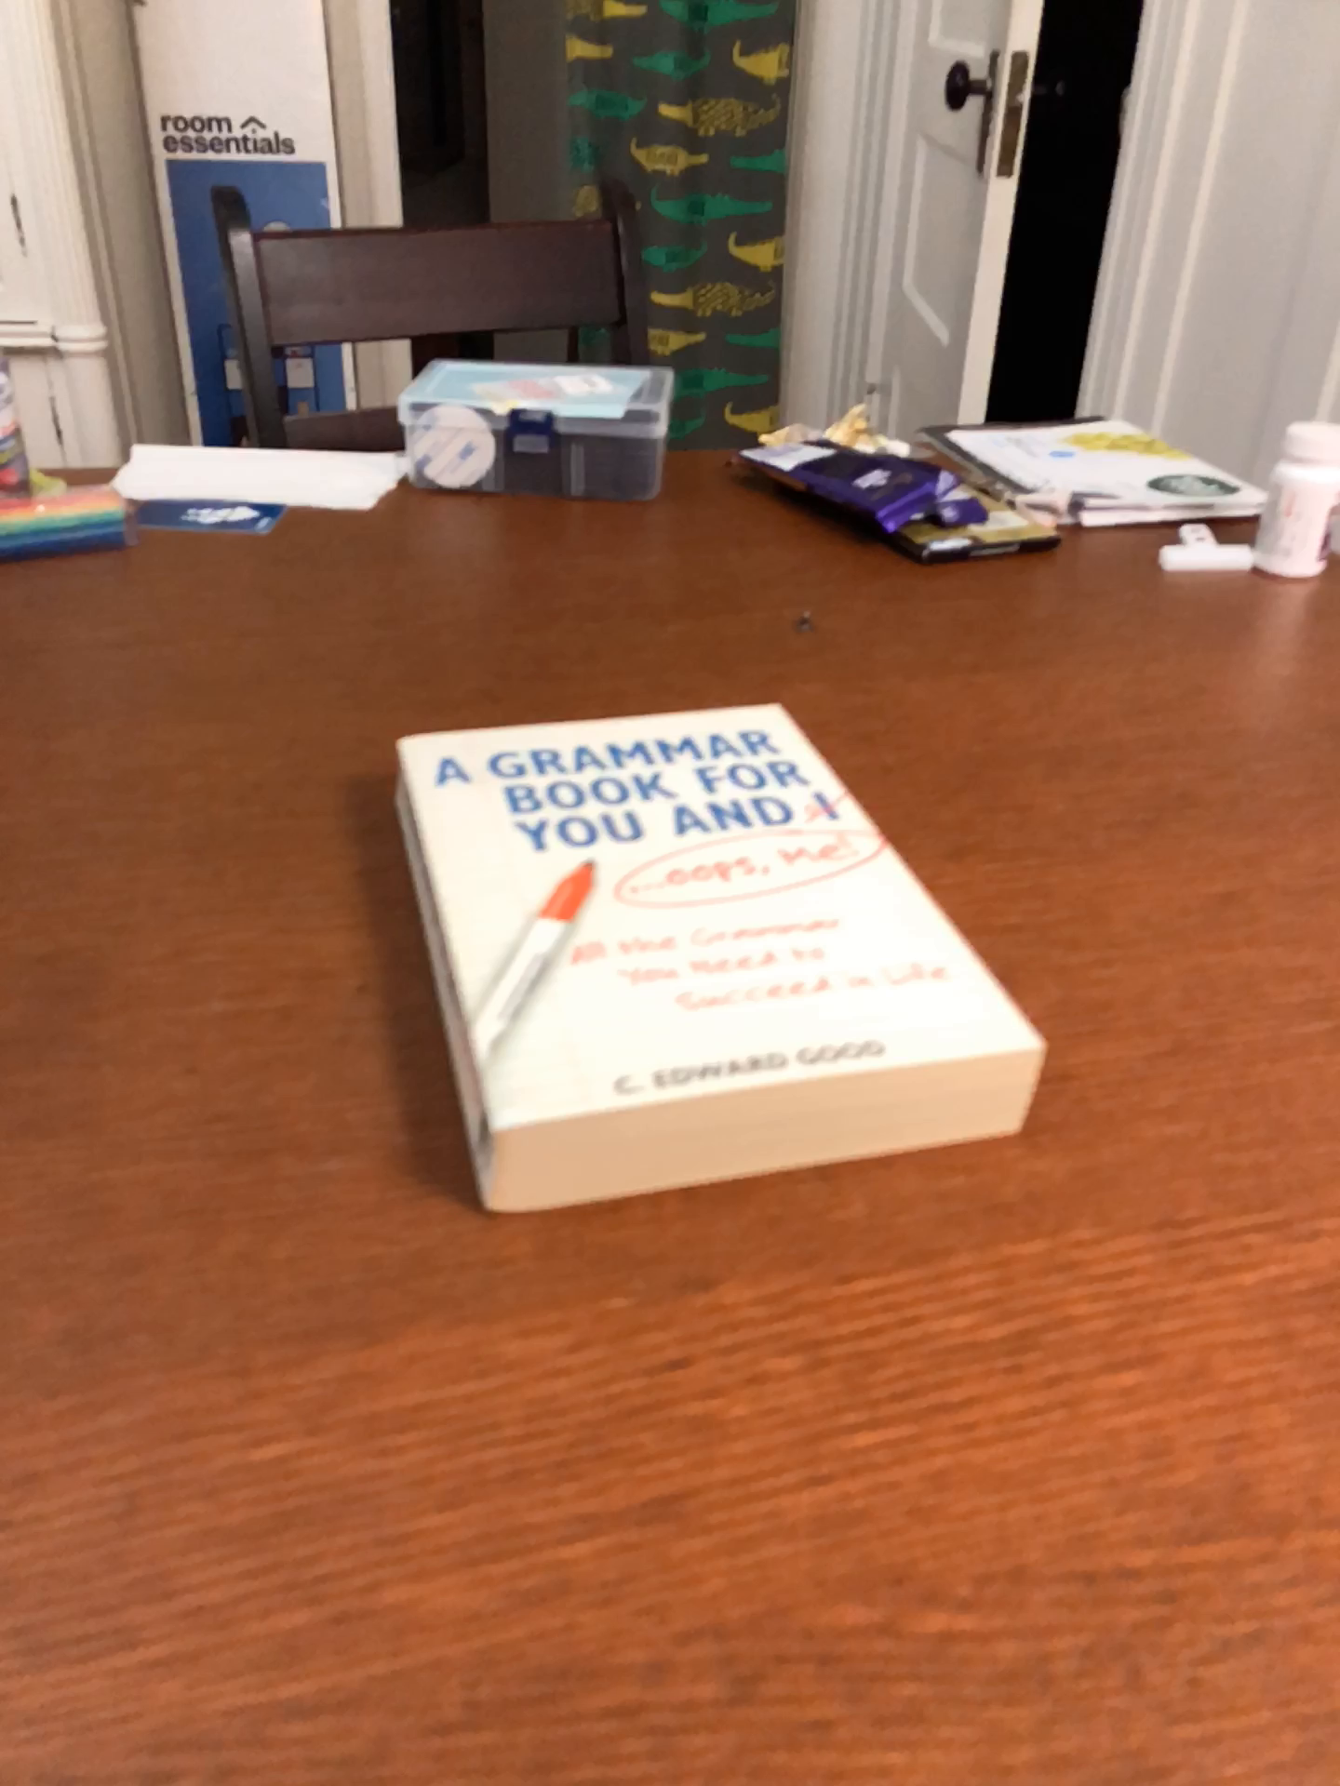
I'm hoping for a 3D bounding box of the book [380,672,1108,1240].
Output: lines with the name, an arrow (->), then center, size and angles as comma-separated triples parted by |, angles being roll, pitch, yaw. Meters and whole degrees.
book -> 0.003, -0.001, 0.477 | 0.170, 0.040, 0.241 | -6, 33, -14
